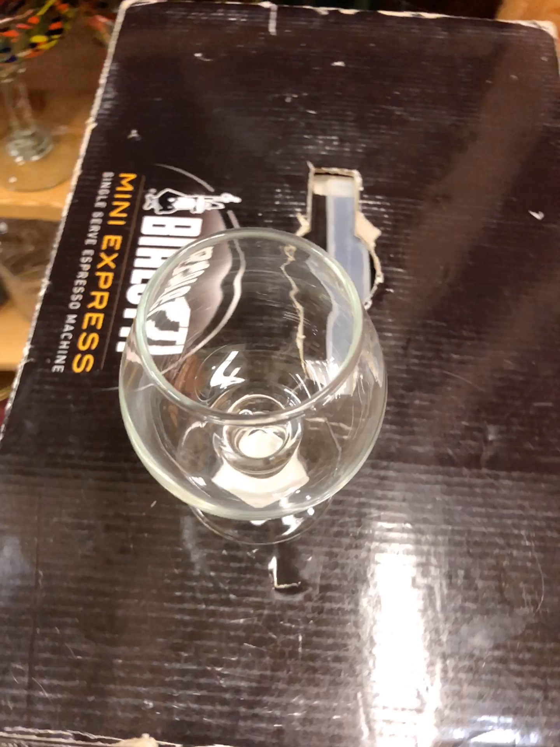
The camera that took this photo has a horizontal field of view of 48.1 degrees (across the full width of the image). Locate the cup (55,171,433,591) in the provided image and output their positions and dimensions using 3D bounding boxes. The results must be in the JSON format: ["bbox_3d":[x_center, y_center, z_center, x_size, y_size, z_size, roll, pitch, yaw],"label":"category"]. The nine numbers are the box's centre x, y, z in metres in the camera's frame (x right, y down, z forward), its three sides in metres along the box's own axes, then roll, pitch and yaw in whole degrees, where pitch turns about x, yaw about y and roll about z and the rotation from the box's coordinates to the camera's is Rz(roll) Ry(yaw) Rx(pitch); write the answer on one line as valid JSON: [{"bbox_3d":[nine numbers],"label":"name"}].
[{"bbox_3d":[-0.007,0.012,0.185,0.069,0.106,0.071,2,63,-3],"label":"cup"}]
